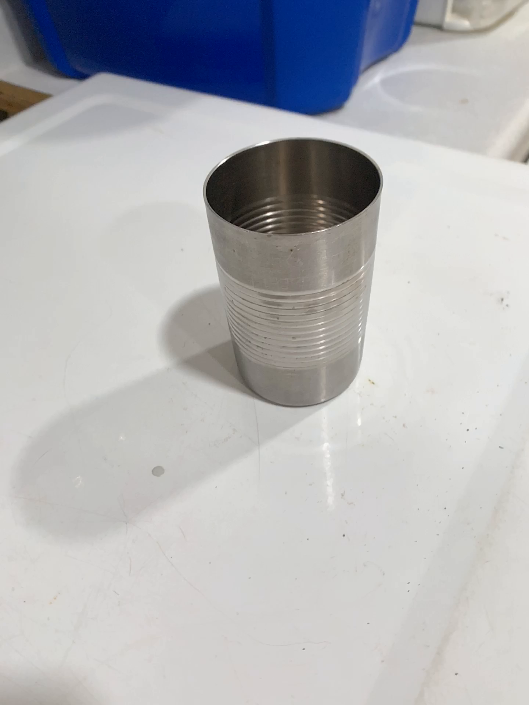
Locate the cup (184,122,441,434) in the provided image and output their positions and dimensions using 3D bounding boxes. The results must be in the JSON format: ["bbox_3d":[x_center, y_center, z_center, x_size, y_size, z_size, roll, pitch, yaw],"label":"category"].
[{"bbox_3d":[0.018,-0.032,0.241,0.070,0.095,0.070,-3,46,3],"label":"cup"}]
